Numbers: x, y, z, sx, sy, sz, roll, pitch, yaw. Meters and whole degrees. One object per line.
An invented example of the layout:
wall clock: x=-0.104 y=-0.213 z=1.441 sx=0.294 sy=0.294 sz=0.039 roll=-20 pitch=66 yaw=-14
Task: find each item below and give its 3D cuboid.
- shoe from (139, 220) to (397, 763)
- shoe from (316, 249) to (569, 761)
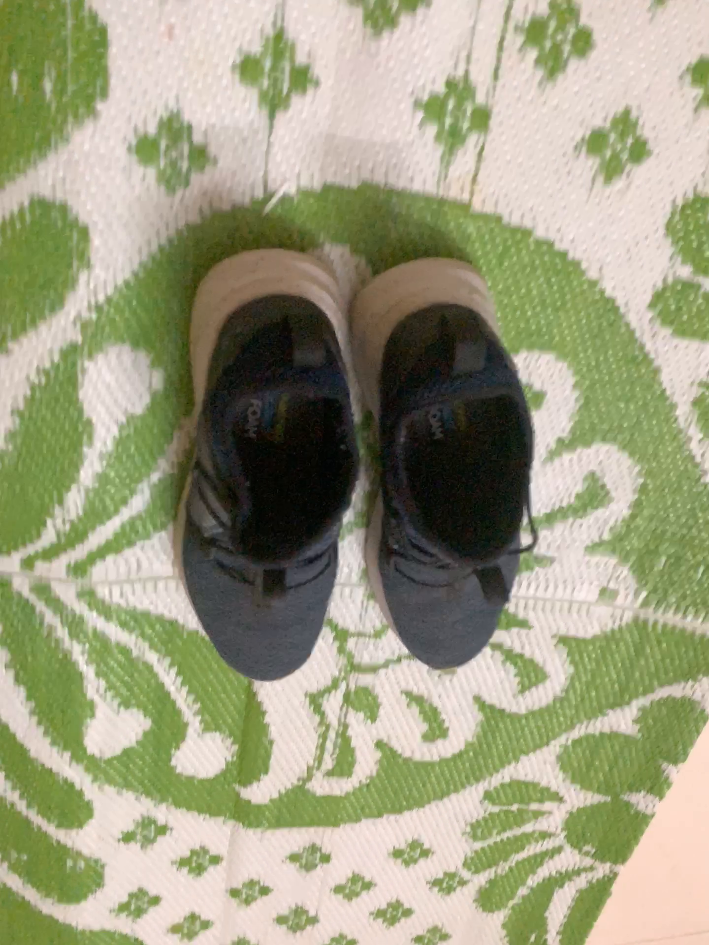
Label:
shoe: x=-0.051 y=0.020 z=0.419 sx=0.110 sy=0.100 sz=0.301 roll=-1 pitch=117 yaw=-8
shoe: x=0.058 y=0.028 z=0.442 sx=0.110 sy=0.100 sz=0.291 roll=-10 pitch=119 yaw=-3
